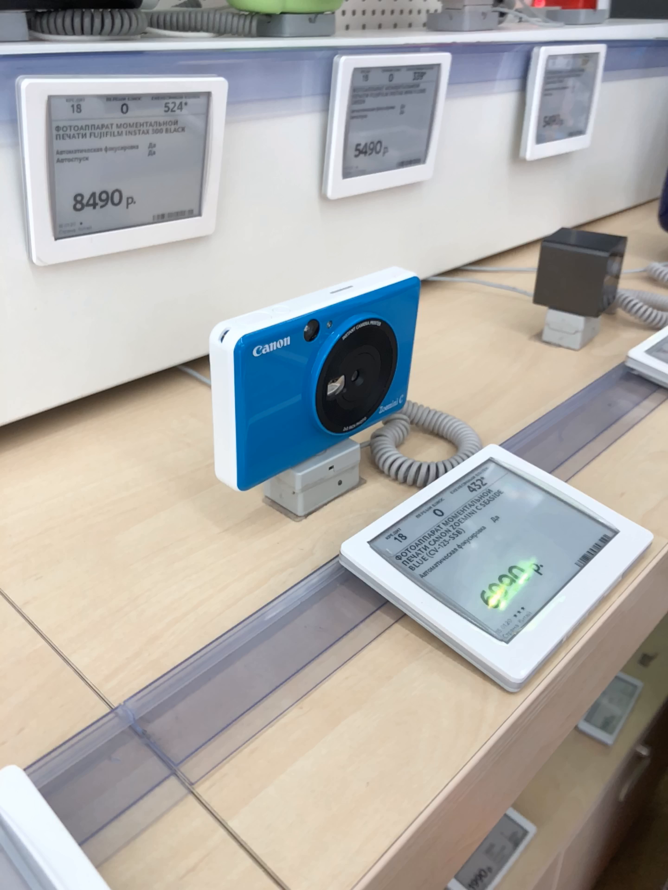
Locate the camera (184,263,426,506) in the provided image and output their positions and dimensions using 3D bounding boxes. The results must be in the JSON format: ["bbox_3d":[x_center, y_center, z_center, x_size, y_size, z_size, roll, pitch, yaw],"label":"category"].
[{"bbox_3d":[-0.010,-0.032,0.337,0.025,0.072,0.120,30,42,34],"label":"camera"}]
